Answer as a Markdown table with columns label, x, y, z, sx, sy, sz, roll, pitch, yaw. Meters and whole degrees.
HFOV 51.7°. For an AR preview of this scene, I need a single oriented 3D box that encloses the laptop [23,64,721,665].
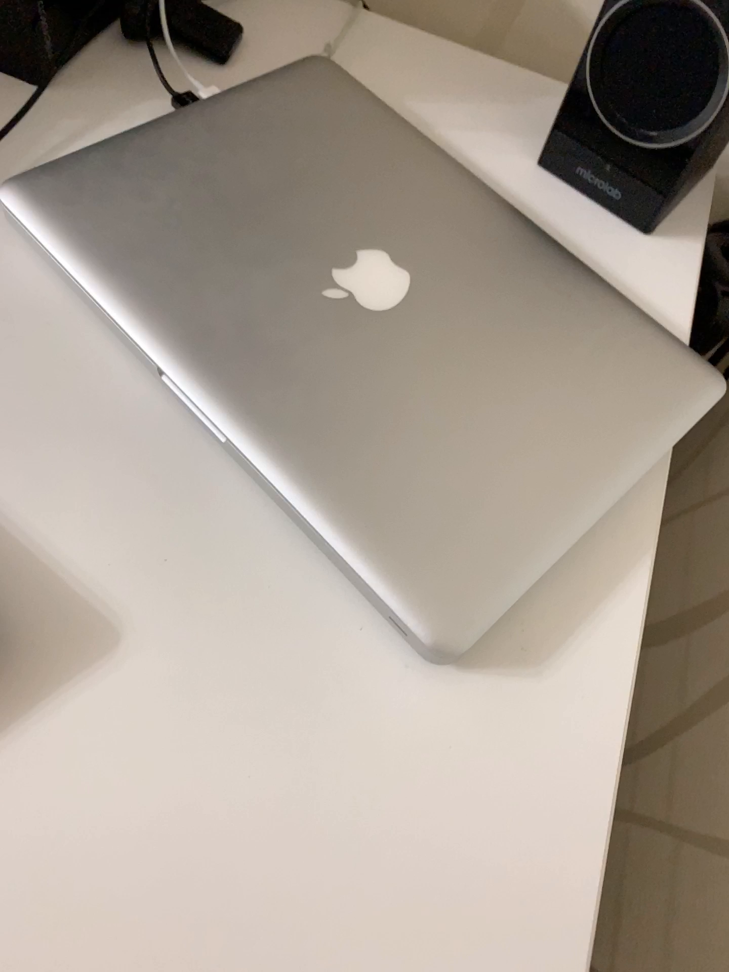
| label | x | y | z | sx | sy | sz | roll | pitch | yaw |
| --- | --- | --- | --- | --- | --- | --- | --- | --- | --- |
| laptop | 0.003 | -0.094 | 0.384 | 0.207 | 0.011 | 0.305 | -37 | 73 | -24 |
